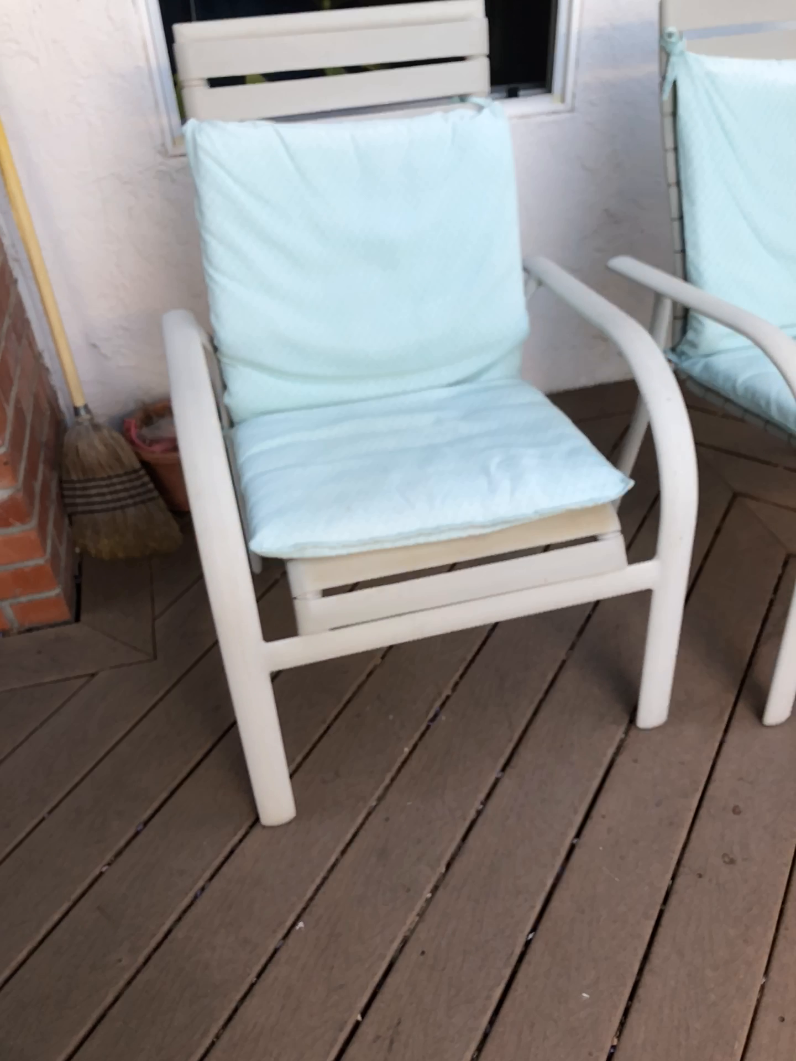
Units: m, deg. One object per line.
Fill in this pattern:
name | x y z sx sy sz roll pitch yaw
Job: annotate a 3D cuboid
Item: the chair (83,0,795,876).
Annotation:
chair | -0.009 -0.224 1.465 0.740 0.994 0.975 -12 41 -11
